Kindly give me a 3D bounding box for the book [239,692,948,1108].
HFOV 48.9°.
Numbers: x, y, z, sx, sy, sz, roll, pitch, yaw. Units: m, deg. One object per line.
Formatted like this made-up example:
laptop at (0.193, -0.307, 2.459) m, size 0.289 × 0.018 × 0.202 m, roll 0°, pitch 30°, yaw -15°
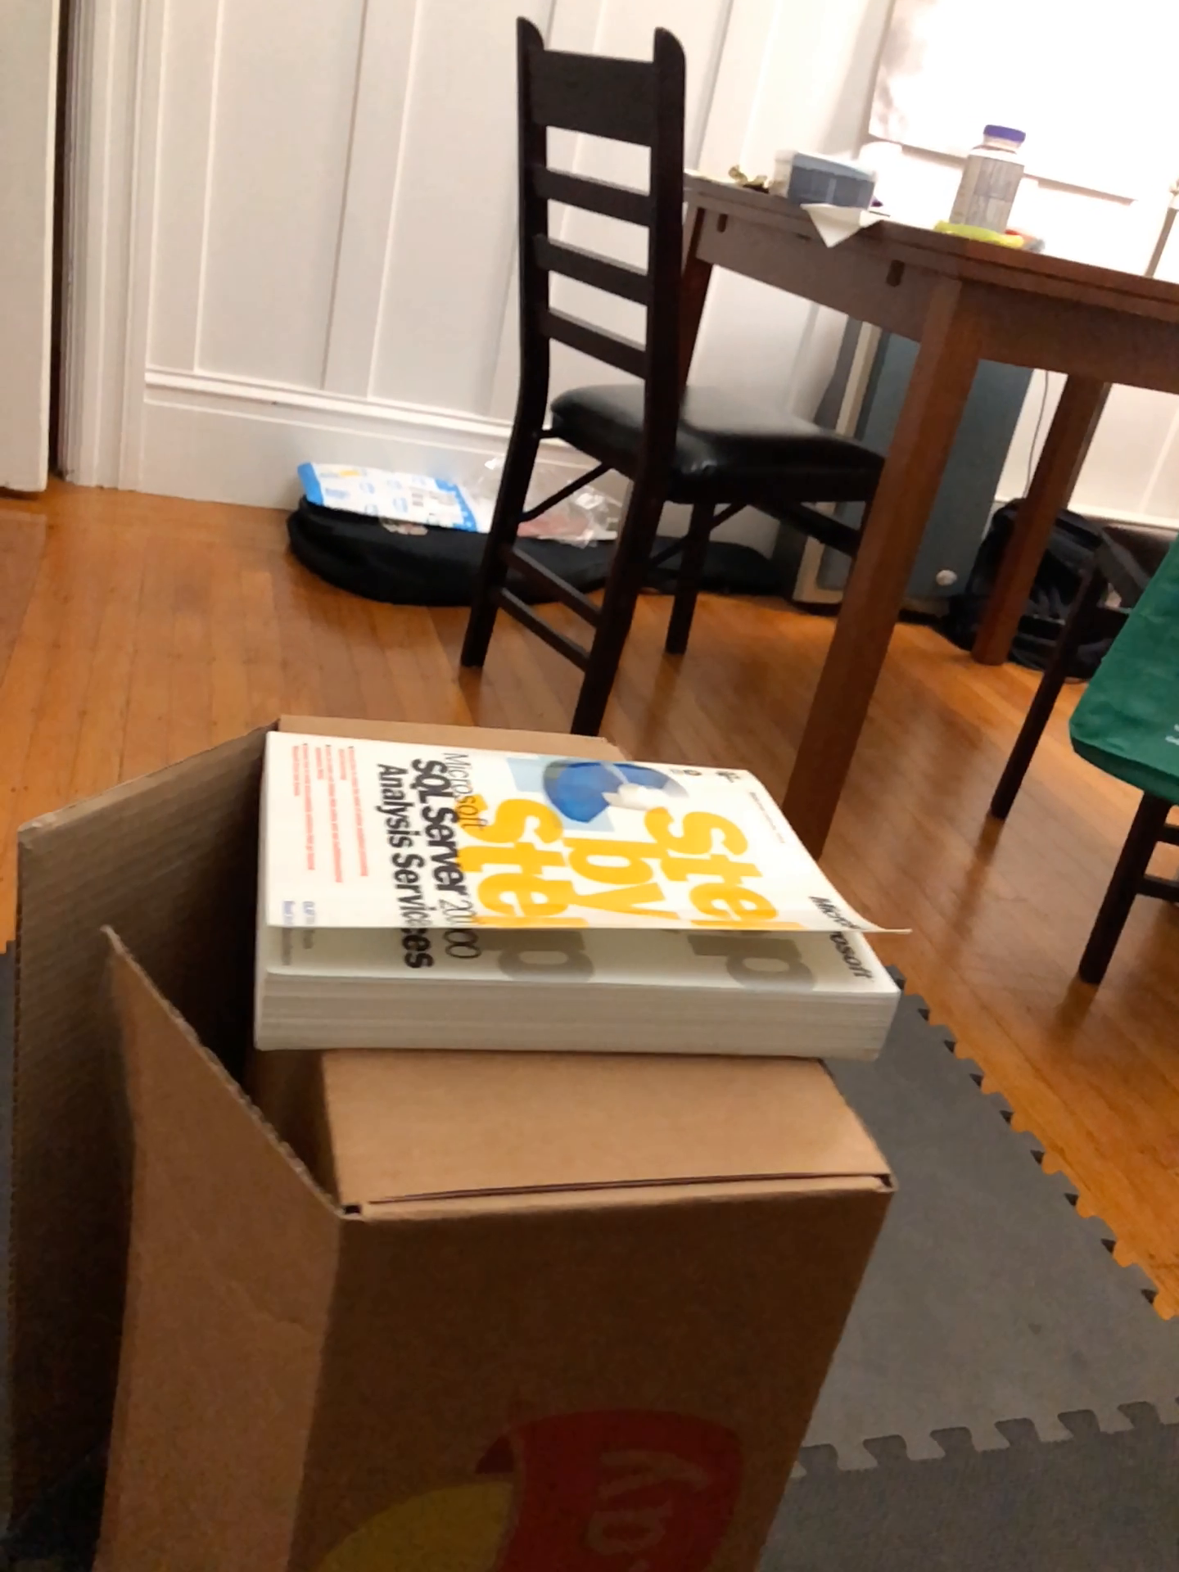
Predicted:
book at (-0.013, 0.033, 0.534) m, size 0.240 × 0.050 × 0.201 m, roll 1°, pitch 31°, yaw -20°
